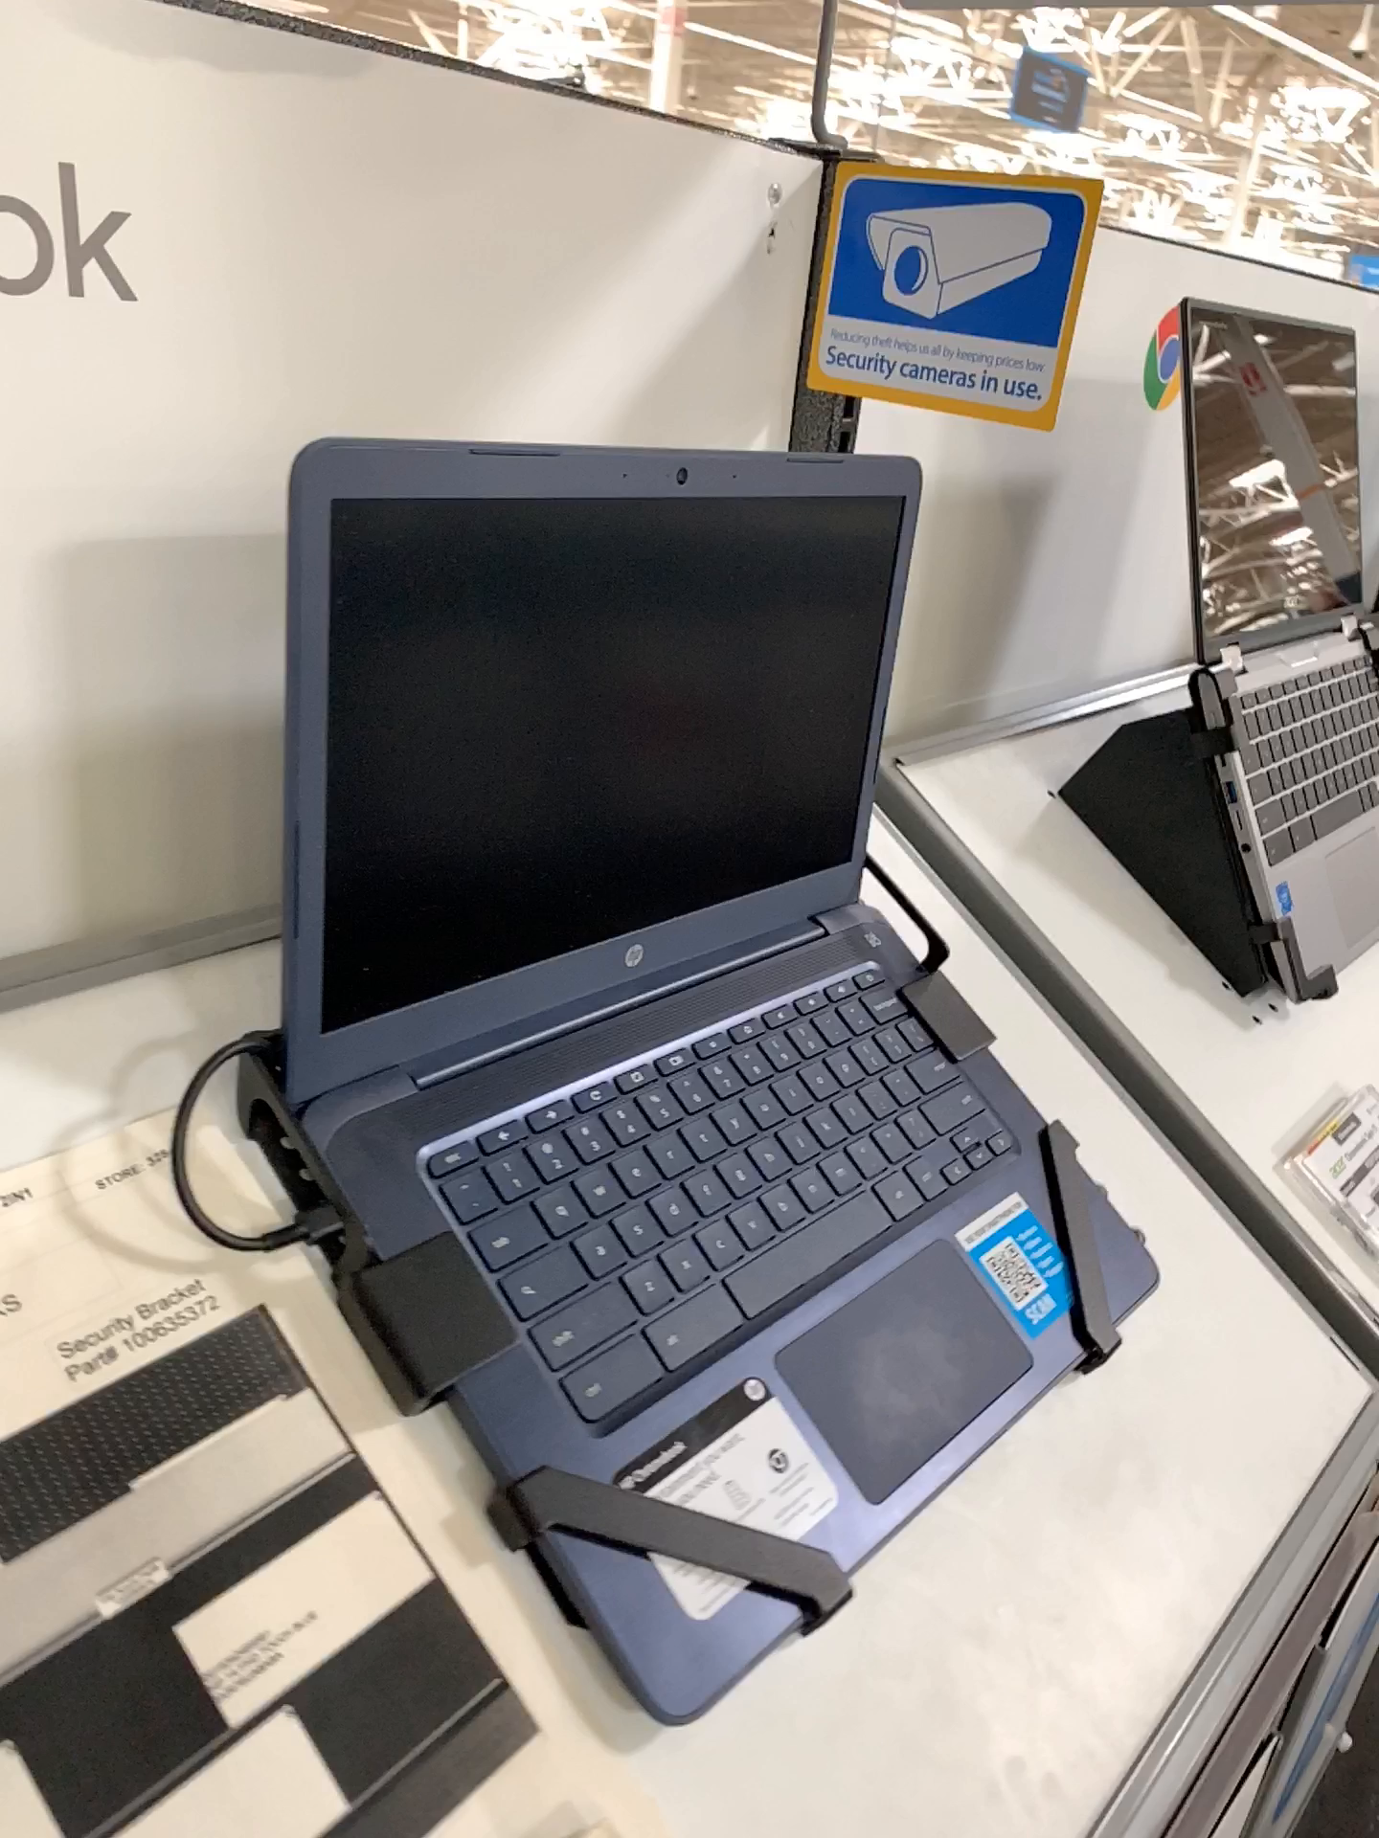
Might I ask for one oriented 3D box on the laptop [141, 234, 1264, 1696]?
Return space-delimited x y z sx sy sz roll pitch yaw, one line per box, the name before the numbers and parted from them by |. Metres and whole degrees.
laptop | 0.017 -0.030 0.533 0.318 0.189 0.323 -18 56 -45
